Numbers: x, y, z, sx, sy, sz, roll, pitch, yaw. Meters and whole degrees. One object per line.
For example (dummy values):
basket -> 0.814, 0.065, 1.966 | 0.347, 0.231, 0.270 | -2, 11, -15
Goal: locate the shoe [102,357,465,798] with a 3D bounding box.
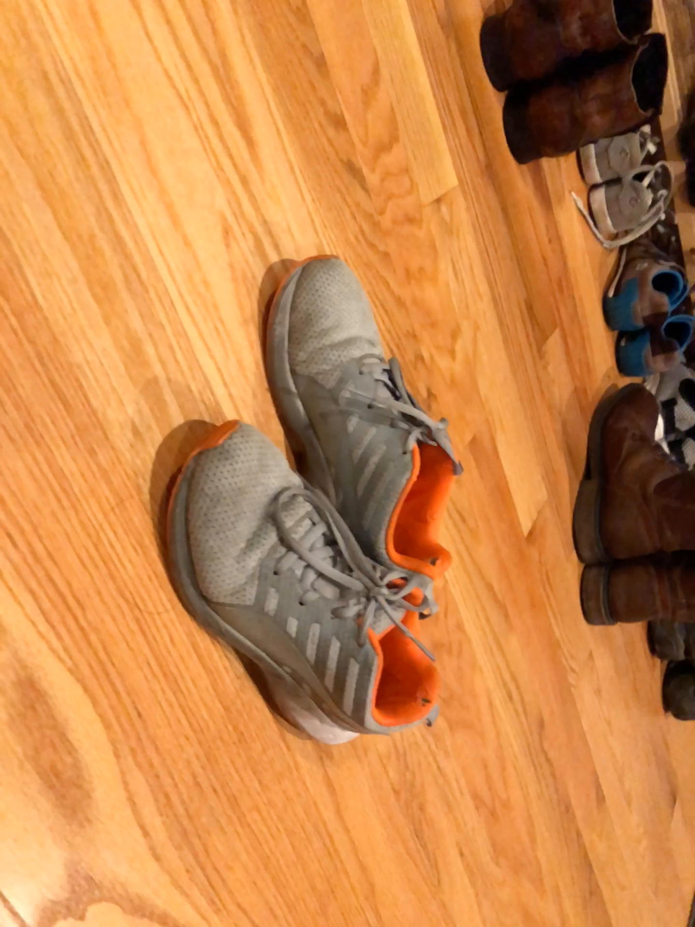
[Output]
shoe -> -0.022, 0.076, 0.472 | 0.110, 0.080, 0.250 | -54, 128, -42

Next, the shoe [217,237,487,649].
shoe -> 0.009, -0.015, 0.522 | 0.100, 0.100, 0.250 | -24, 106, -52
